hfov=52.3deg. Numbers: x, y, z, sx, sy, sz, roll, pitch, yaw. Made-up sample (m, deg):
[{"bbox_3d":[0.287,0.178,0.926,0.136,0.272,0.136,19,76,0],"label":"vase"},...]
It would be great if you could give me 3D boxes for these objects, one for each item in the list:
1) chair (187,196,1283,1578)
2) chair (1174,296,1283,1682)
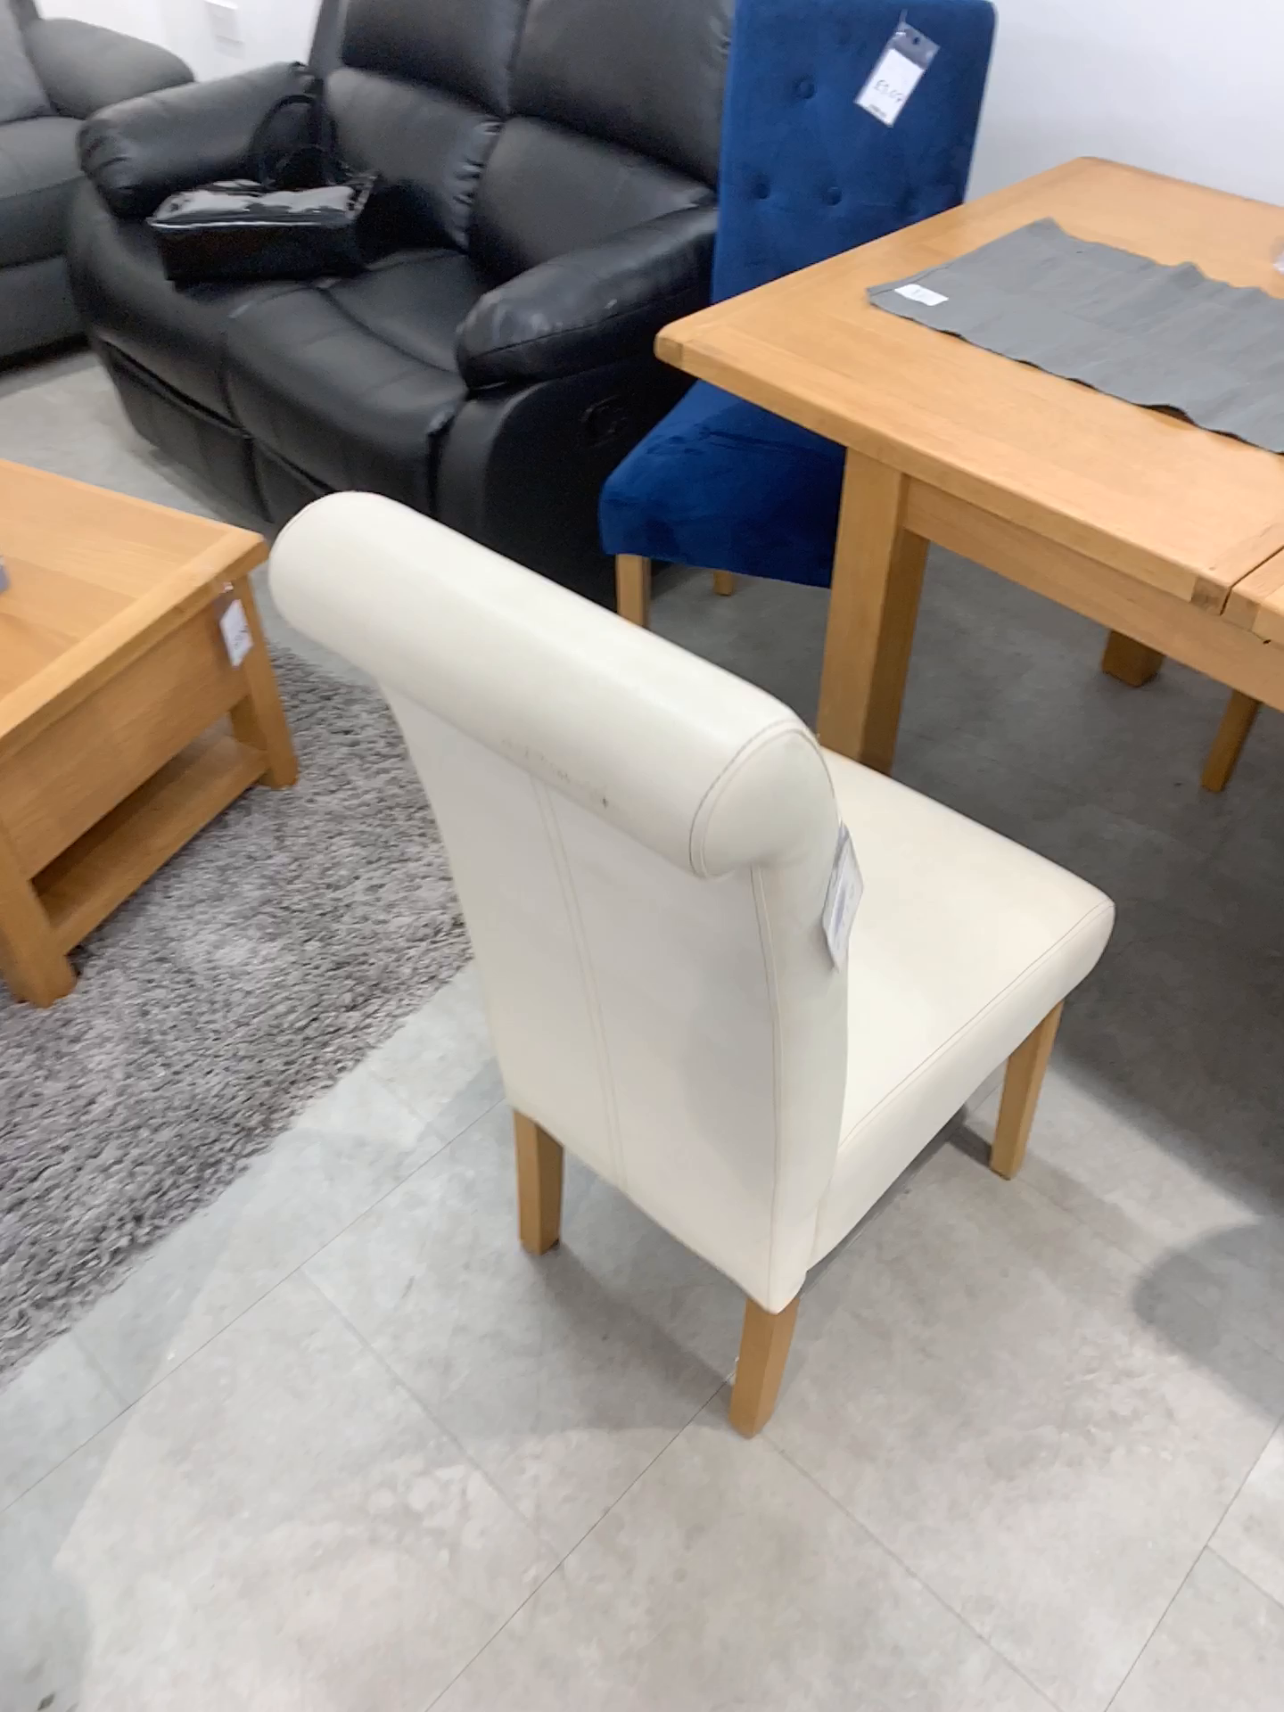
[{"bbox_3d":[0.121,0.050,1.154,0.515,0.935,0.594,31,53,29],"label":"chair"},{"bbox_3d":[0.937,0.136,1.104,0.584,0.906,0.486,-35,53,-29],"label":"chair"}]
